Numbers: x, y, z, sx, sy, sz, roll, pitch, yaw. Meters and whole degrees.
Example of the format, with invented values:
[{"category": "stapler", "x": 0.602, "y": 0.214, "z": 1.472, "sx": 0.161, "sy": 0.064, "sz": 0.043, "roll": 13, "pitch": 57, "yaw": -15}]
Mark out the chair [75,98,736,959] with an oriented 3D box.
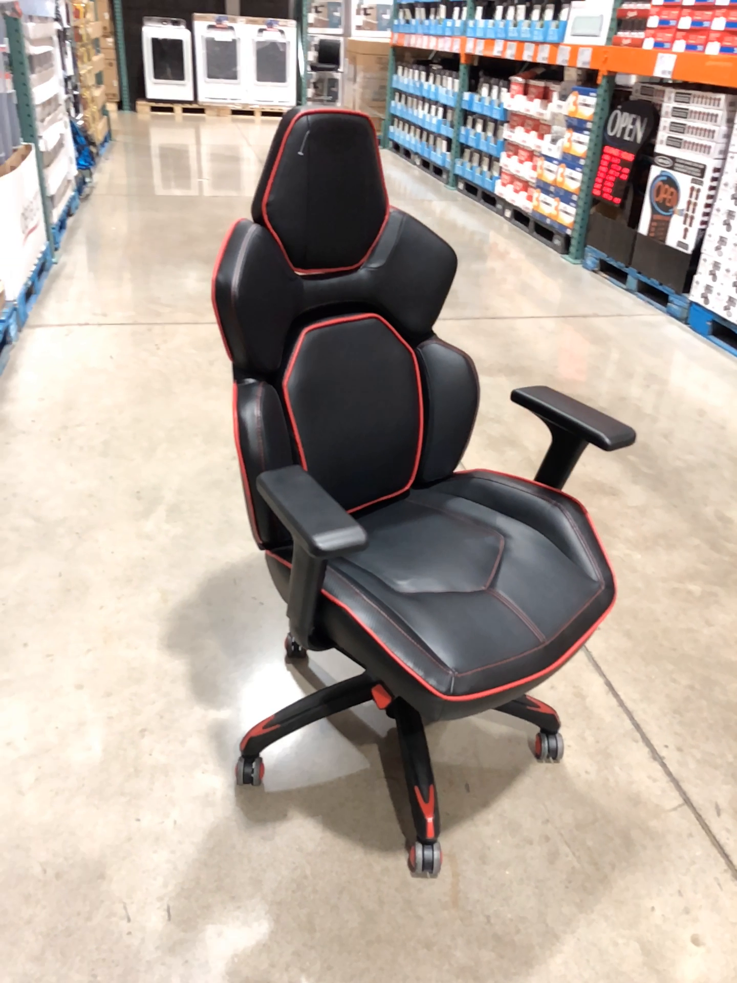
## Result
[{"category": "chair", "x": 0.067, "y": -0.025, "z": 1.416, "sx": 0.721, "sy": 1.145, "sz": 0.722, "roll": 28, "pitch": 37, "yaw": 37}]
